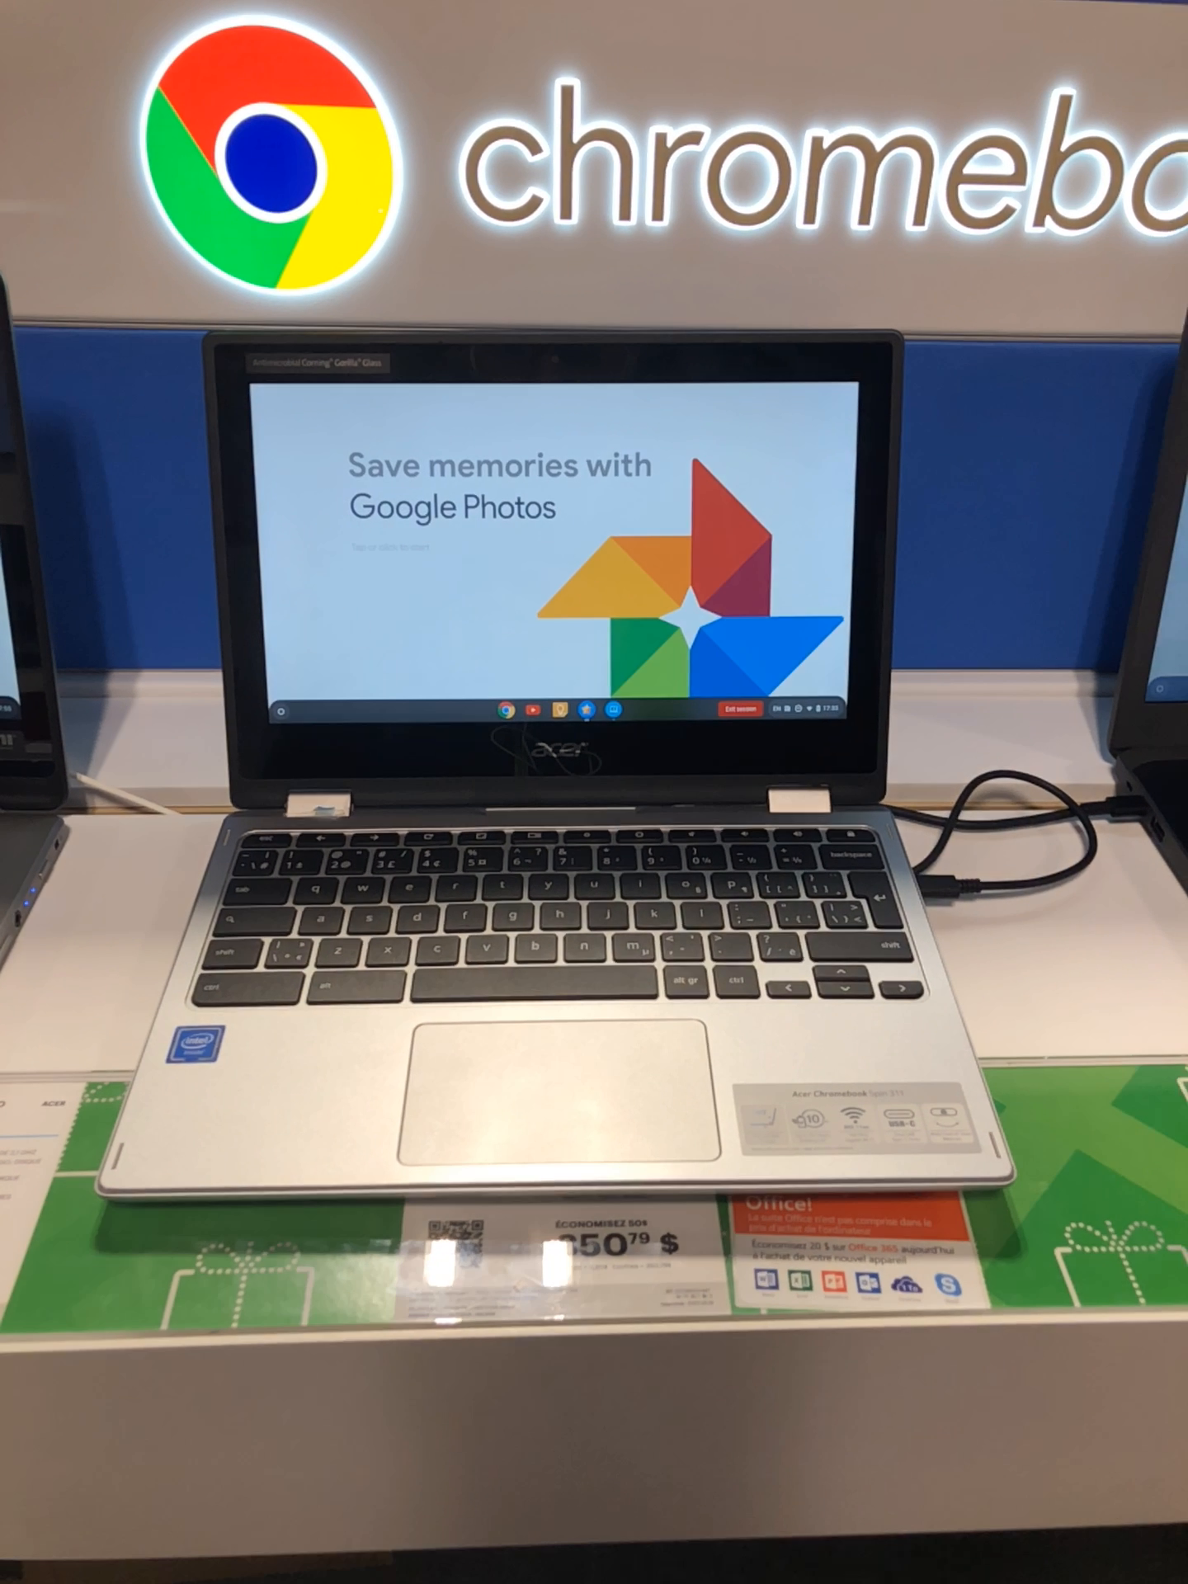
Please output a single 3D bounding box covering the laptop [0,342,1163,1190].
[{"bbox_3d":[-0.012,-0.029,0.472,0.284,0.181,0.274,0,35,-2],"label":"laptop"}]
